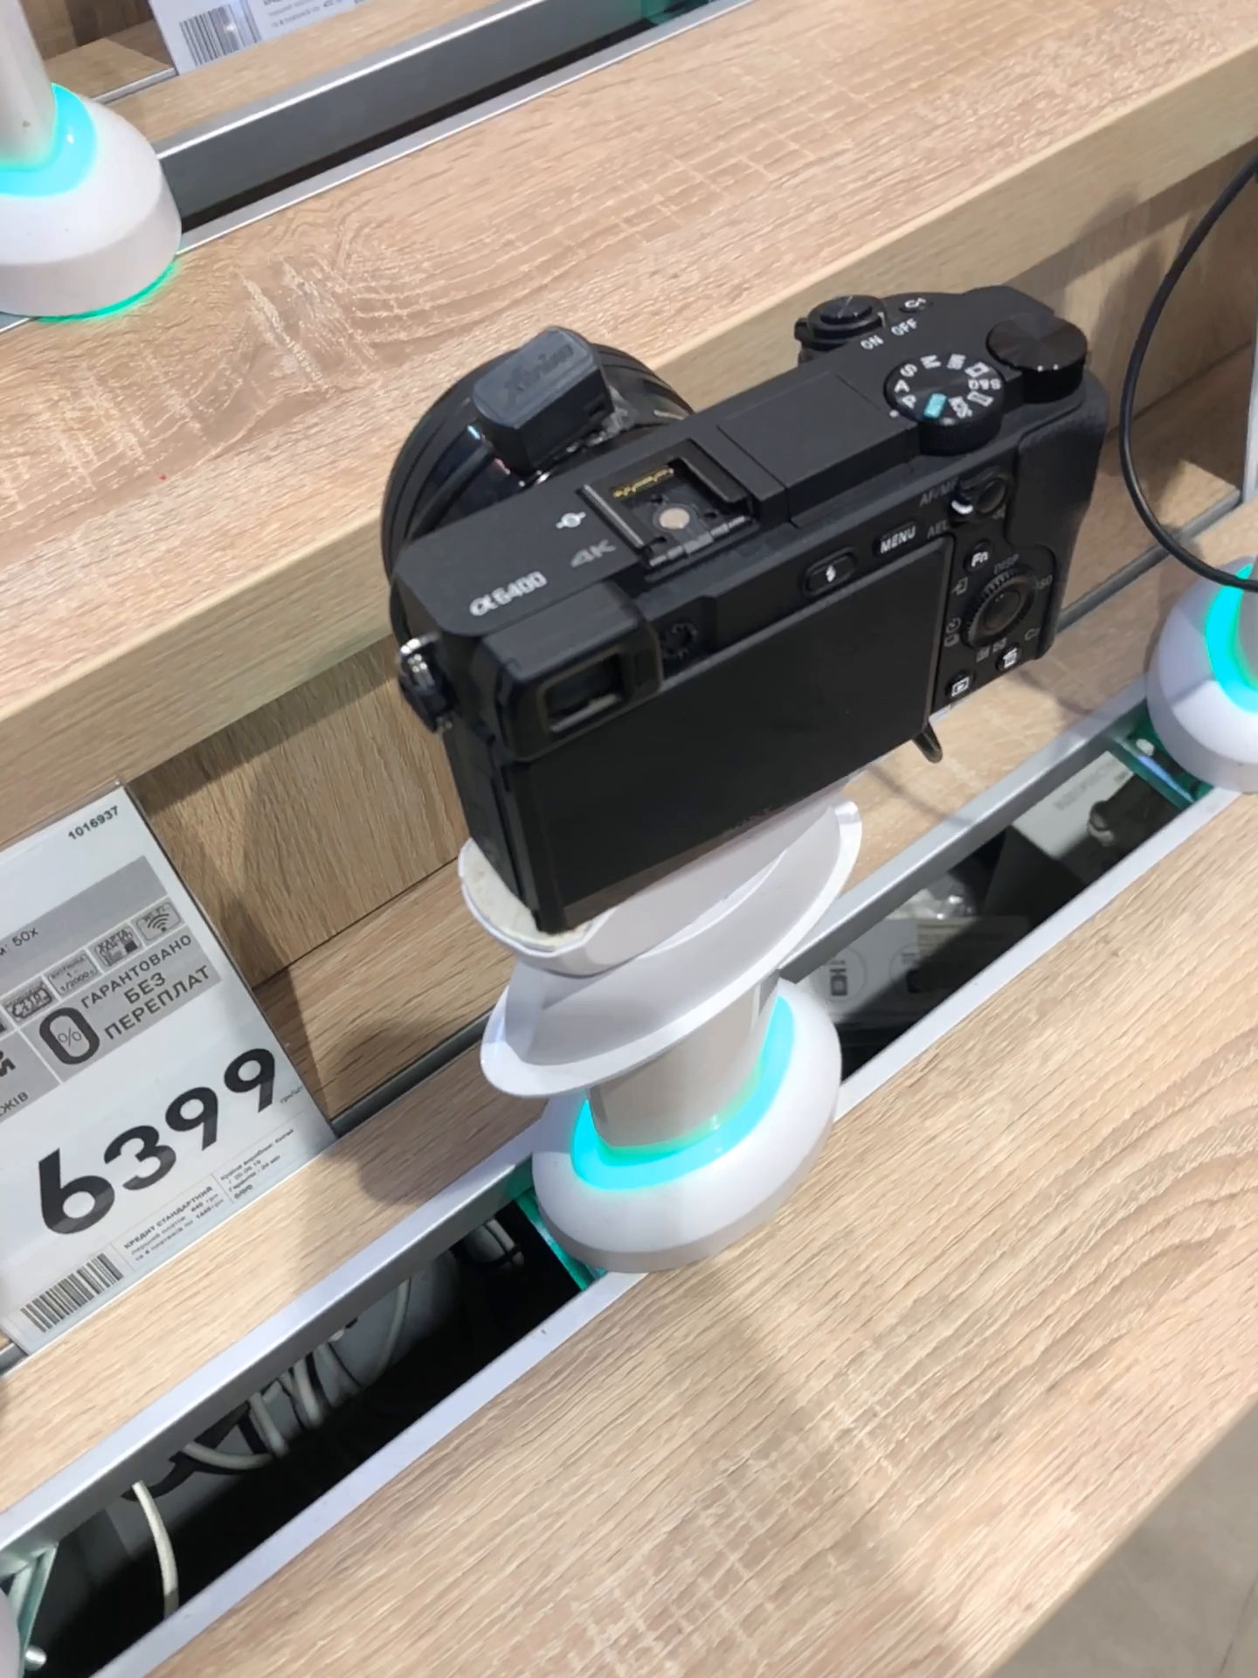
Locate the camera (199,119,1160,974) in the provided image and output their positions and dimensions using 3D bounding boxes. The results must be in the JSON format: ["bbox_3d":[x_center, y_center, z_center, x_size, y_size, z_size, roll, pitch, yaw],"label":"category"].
[{"bbox_3d":[0.007,-0.058,0.252,0.122,0.069,0.098,-29,56,-17],"label":"camera"}]
